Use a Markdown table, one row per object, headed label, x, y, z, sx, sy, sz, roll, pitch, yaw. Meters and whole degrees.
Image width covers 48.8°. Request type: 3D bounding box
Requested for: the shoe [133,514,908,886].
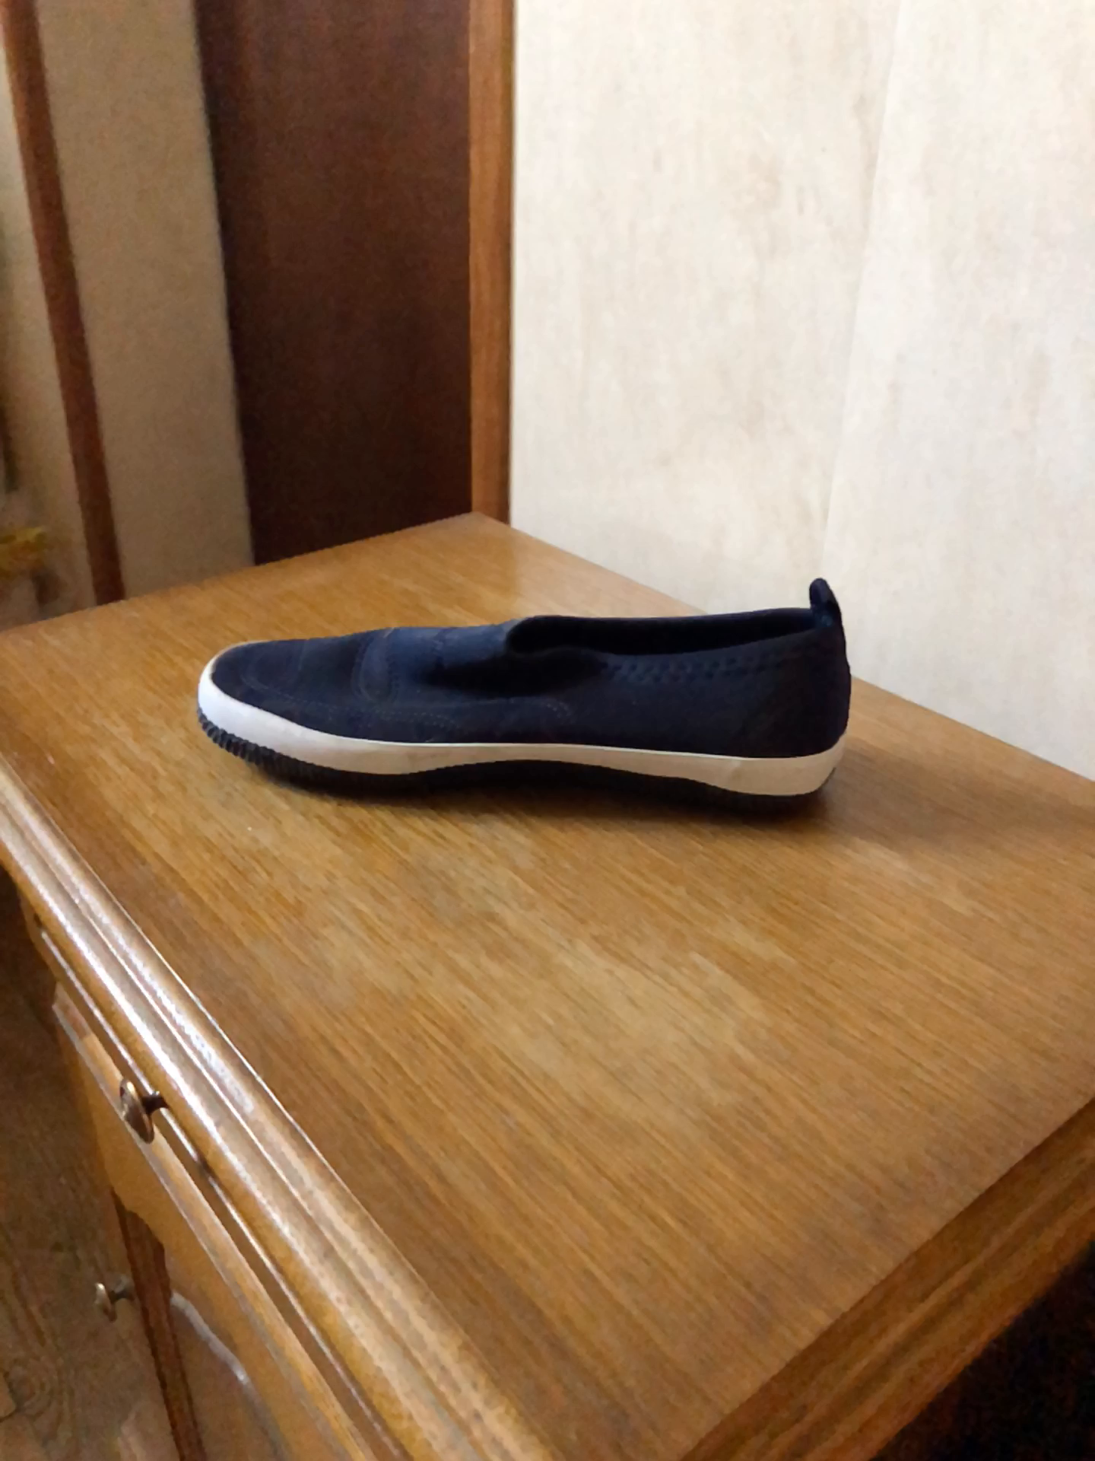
| label | x | y | z | sx | sy | sz | roll | pitch | yaw |
| --- | --- | --- | --- | --- | --- | --- | --- | --- | --- |
| shoe | -0.007 | -0.018 | 0.459 | 0.260 | 0.080 | 0.101 | 6 | 29 | 8 |
